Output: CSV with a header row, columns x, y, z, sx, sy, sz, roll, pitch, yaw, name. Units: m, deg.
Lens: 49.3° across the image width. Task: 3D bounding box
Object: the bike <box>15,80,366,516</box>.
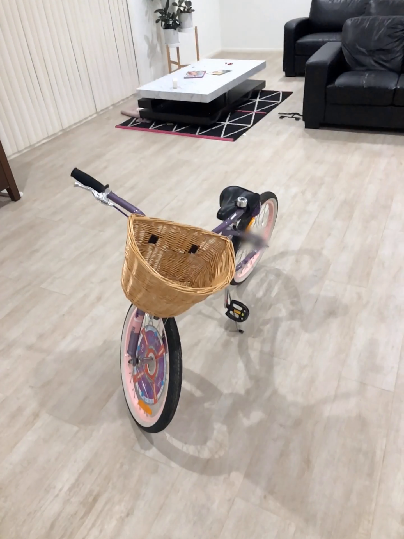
x,y,z,sx,sy,sz,roll,pitch,yaw,name
0.096,-0.034,1.711,0.747,0.877,1.222,11,43,22,bike
